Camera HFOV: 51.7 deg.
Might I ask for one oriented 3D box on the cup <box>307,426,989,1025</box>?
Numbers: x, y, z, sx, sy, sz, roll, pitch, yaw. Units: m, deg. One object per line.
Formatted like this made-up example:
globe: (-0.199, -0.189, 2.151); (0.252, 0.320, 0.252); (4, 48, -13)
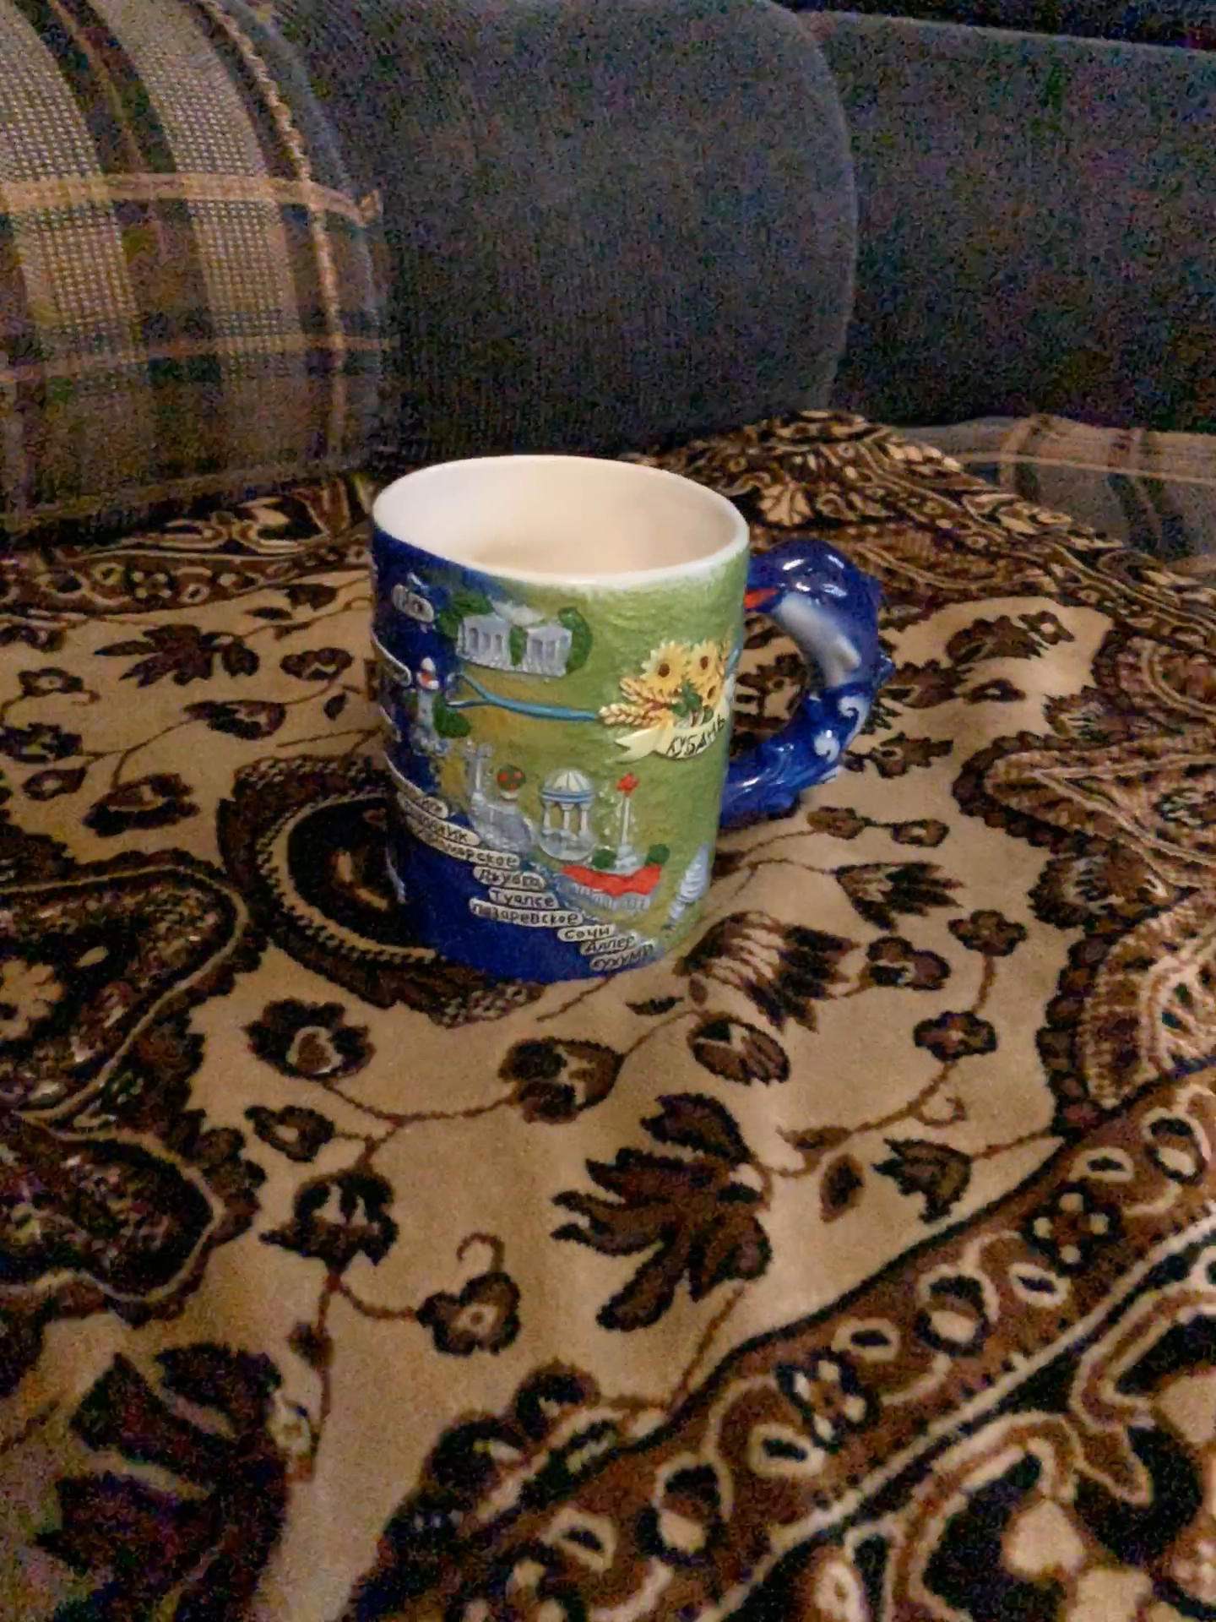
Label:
cup: (0.005, -0.029, 0.320); (0.137, 0.105, 0.084); (-11, 36, -23)
